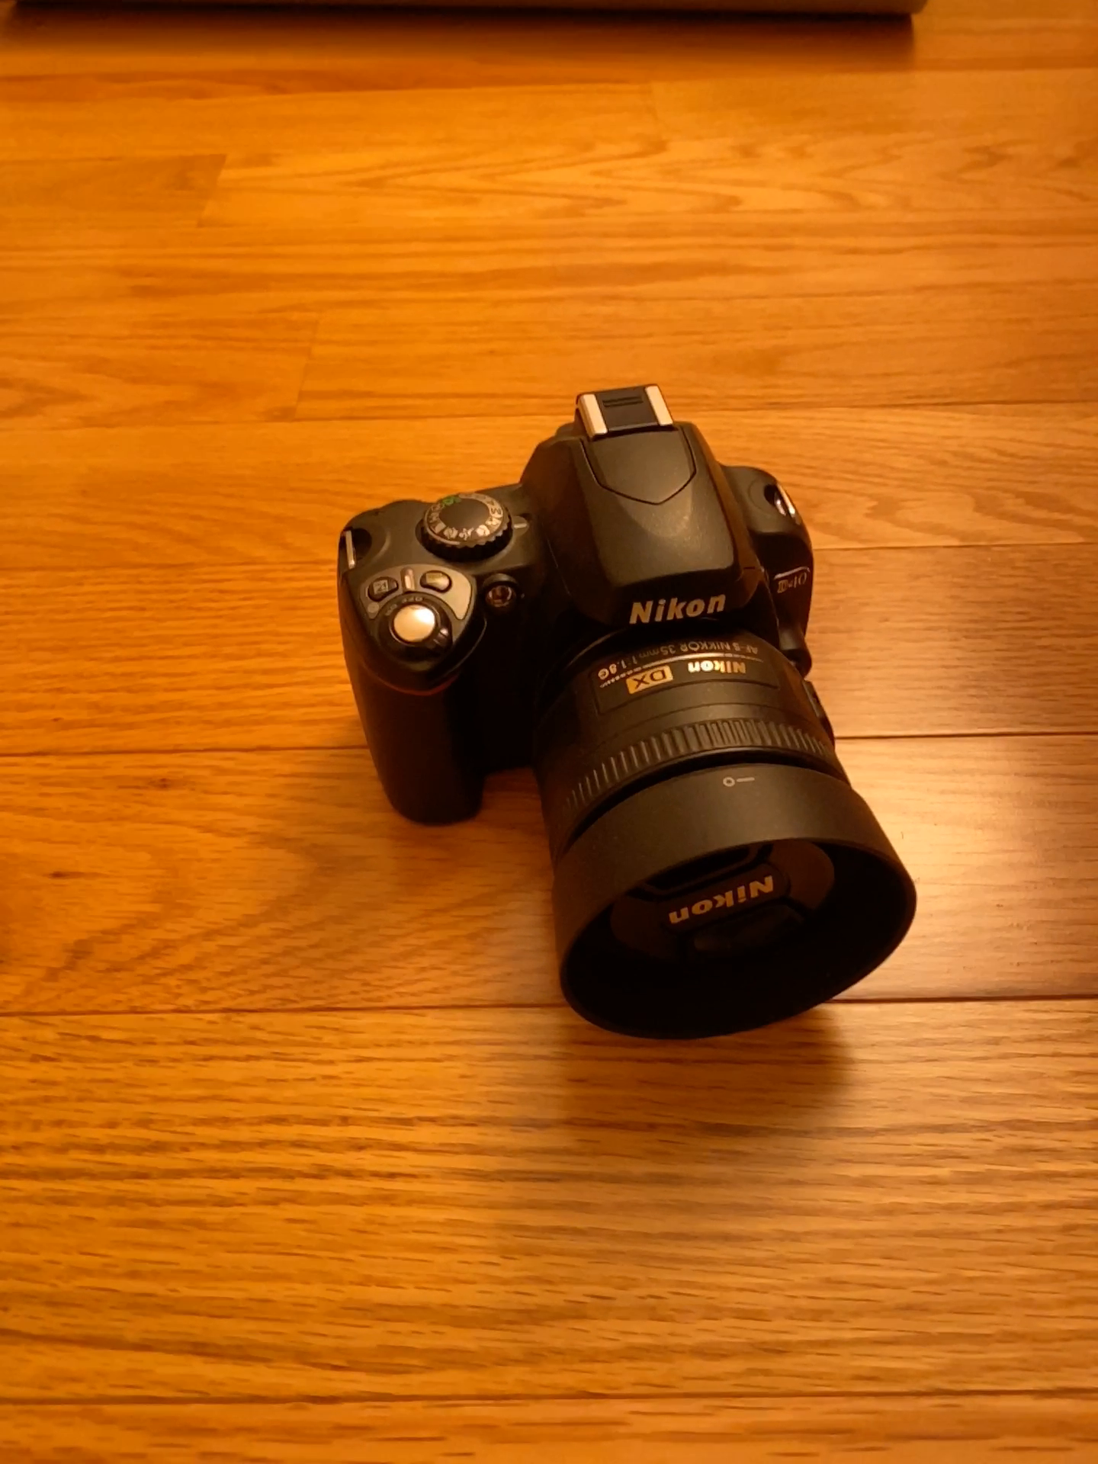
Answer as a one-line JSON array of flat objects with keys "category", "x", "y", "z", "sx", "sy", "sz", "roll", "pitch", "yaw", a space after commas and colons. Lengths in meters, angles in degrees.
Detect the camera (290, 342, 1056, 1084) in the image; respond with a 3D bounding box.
[{"category": "camera", "x": 0.013, "y": -0.012, "z": 0.266, "sx": 0.130, "sy": 0.080, "sz": 0.141, "roll": -8, "pitch": 49, "yaw": -5}]
